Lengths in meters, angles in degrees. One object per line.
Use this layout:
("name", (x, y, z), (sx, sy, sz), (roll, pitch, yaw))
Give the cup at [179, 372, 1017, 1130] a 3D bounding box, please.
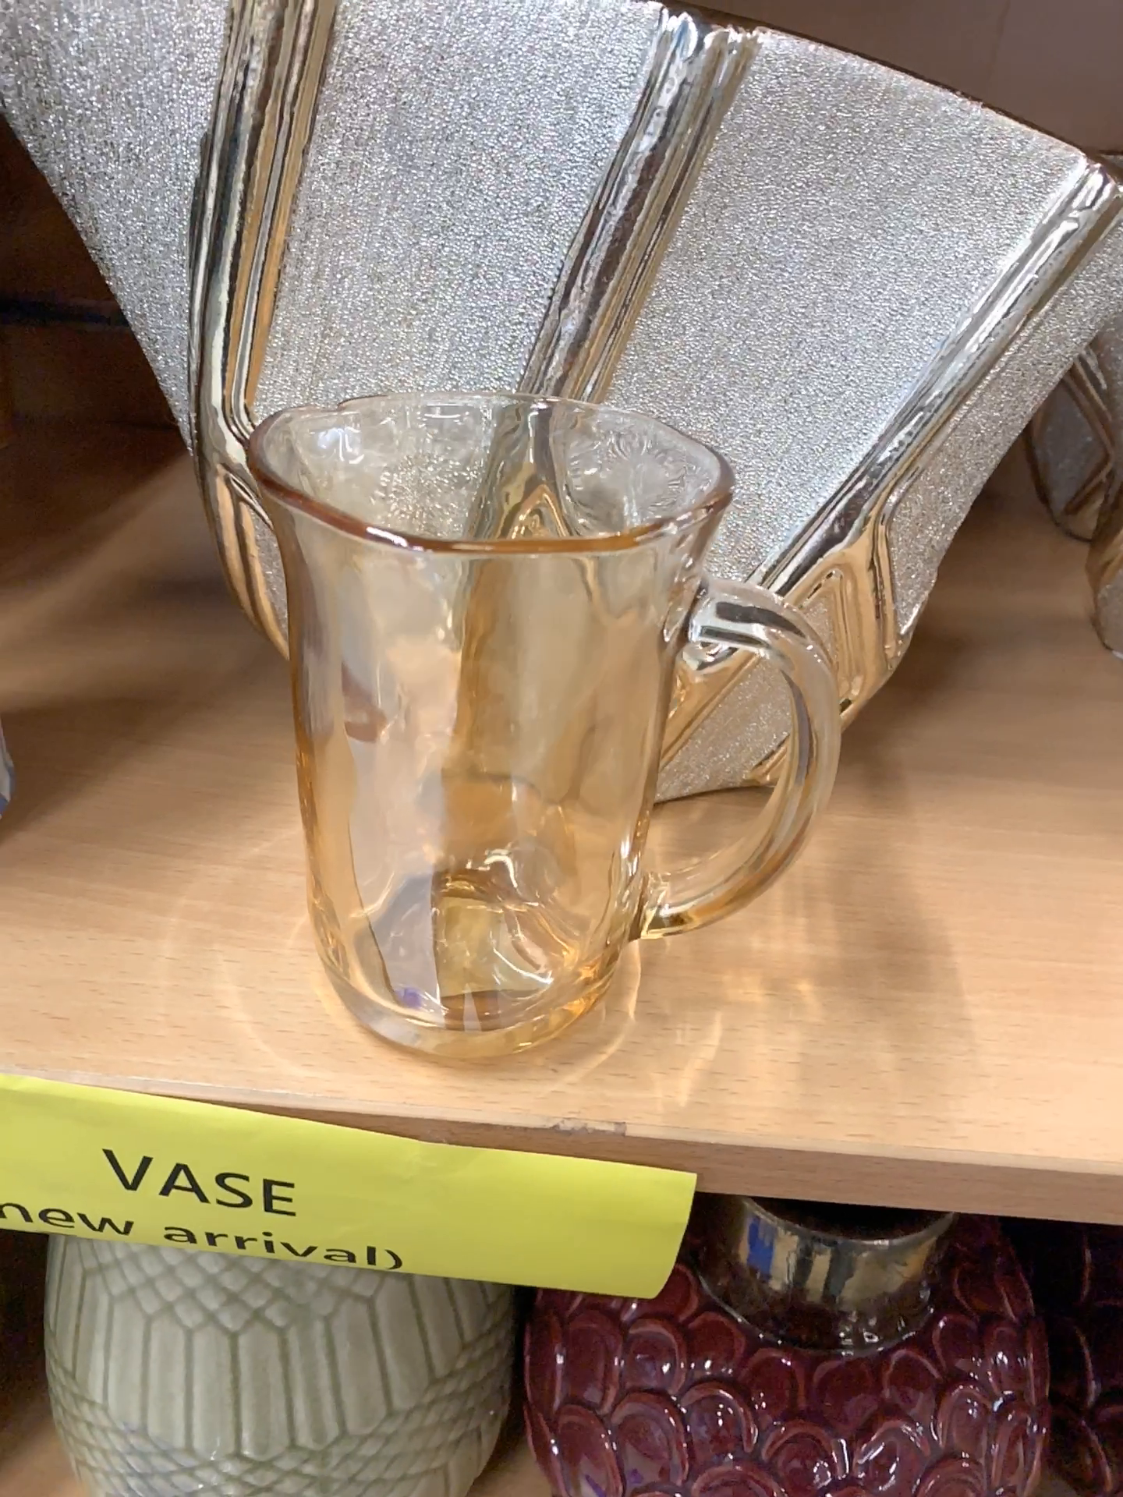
("cup", (0.004, -0.003, 0.212), (0.110, 0.100, 0.080), (6, 31, 2))
